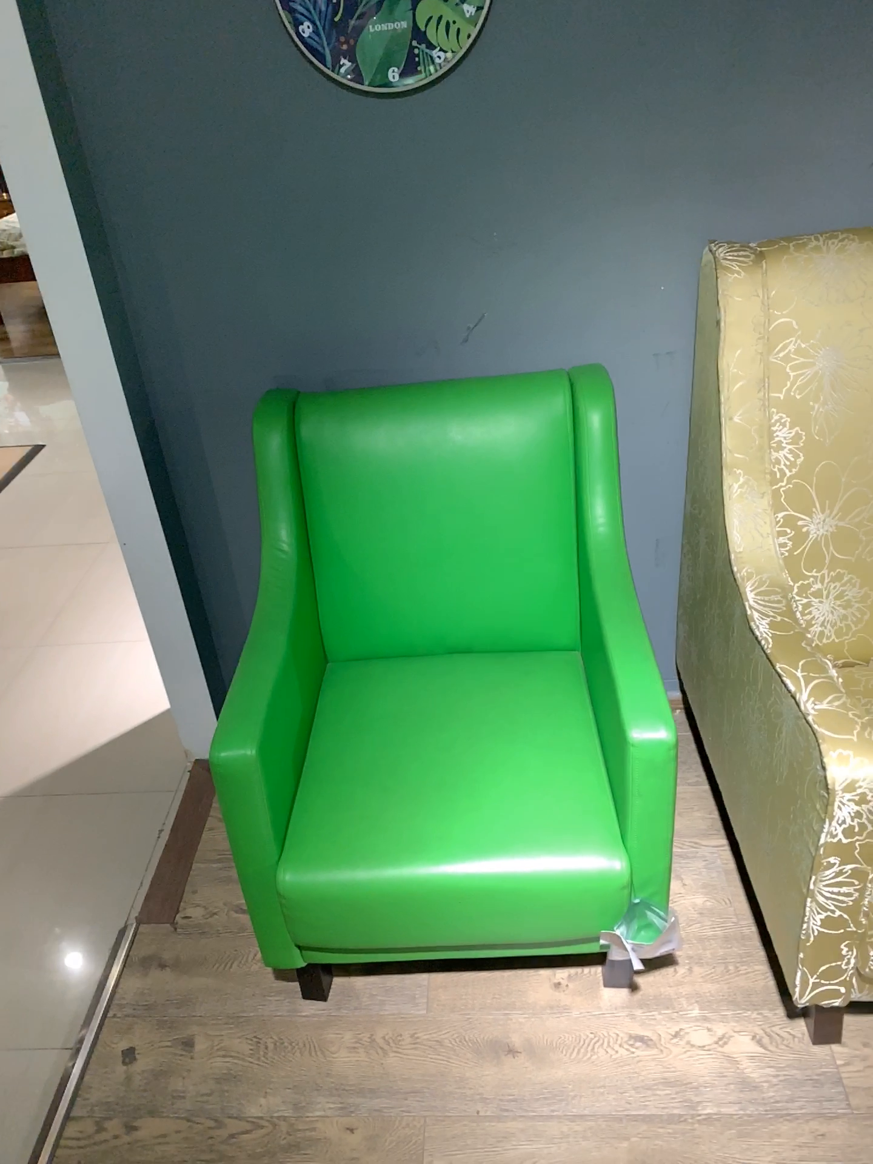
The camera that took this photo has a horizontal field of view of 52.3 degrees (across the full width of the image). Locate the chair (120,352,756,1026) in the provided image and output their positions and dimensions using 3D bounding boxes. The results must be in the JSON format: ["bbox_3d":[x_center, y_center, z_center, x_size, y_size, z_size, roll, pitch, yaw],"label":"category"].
[{"bbox_3d":[0.035,0.141,1.539,0.710,0.786,0.814,-3,32,4],"label":"chair"}]
